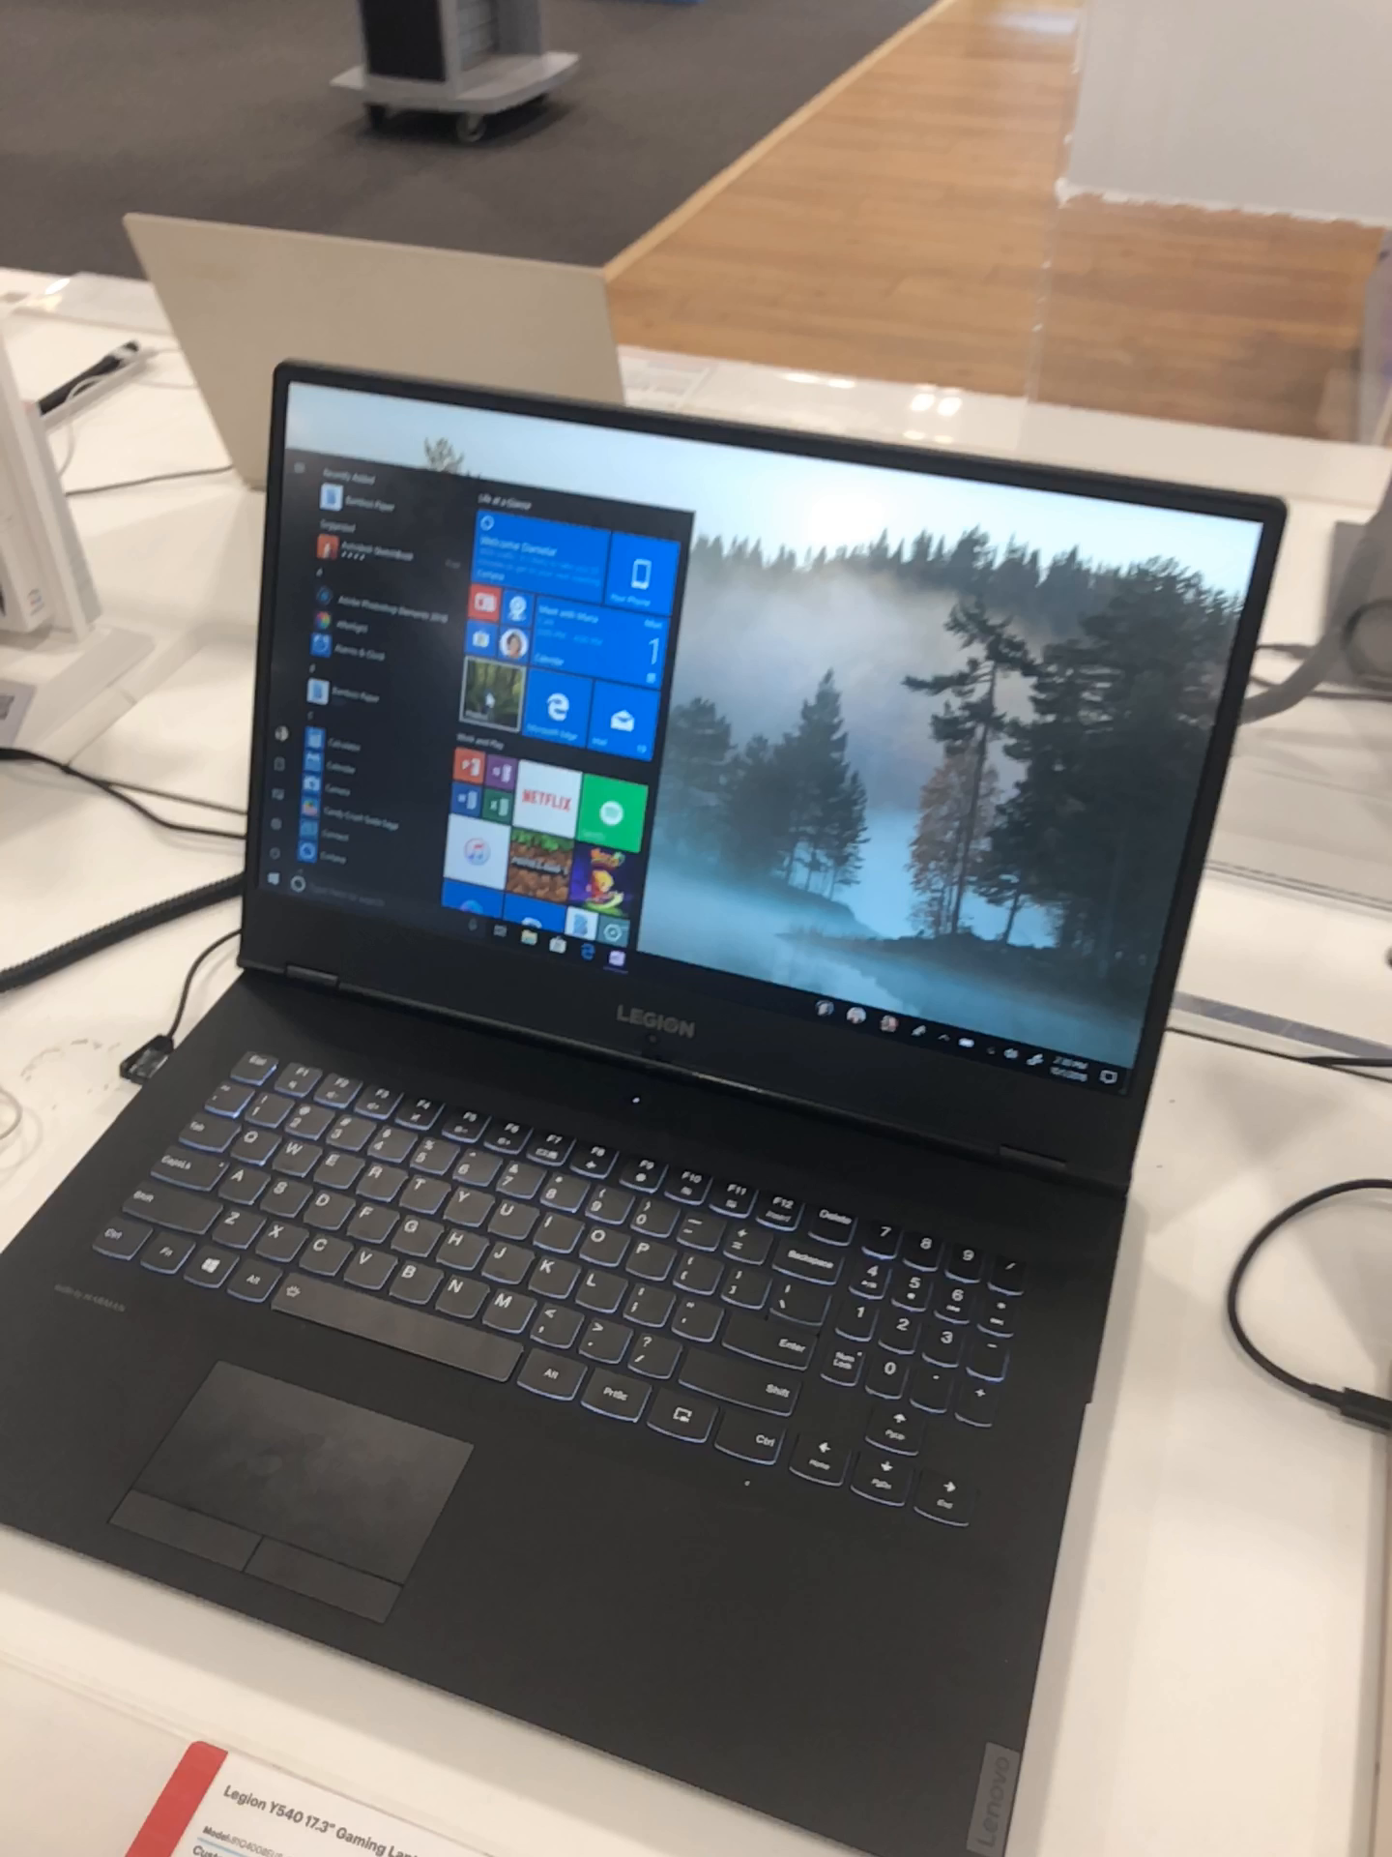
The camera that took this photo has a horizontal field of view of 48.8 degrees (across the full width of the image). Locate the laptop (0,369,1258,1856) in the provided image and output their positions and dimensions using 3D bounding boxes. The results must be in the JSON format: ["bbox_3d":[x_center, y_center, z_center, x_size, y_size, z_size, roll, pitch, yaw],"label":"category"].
[{"bbox_3d":[-0.041,0.018,0.523,0.382,0.241,0.359,13,41,14],"label":"laptop"}]
